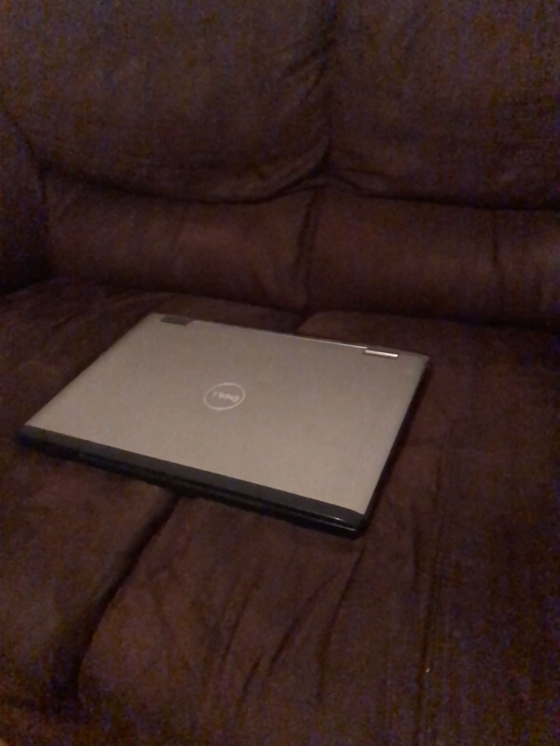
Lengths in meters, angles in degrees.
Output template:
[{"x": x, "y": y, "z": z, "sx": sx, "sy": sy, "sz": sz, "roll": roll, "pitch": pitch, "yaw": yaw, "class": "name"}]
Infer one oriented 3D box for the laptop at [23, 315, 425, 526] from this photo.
[{"x": -0.052, "y": 0.025, "z": 0.681, "sx": 0.370, "sy": 0.002, "sz": 0.261, "roll": 10, "pitch": 37, "yaw": 21, "class": "laptop"}]
